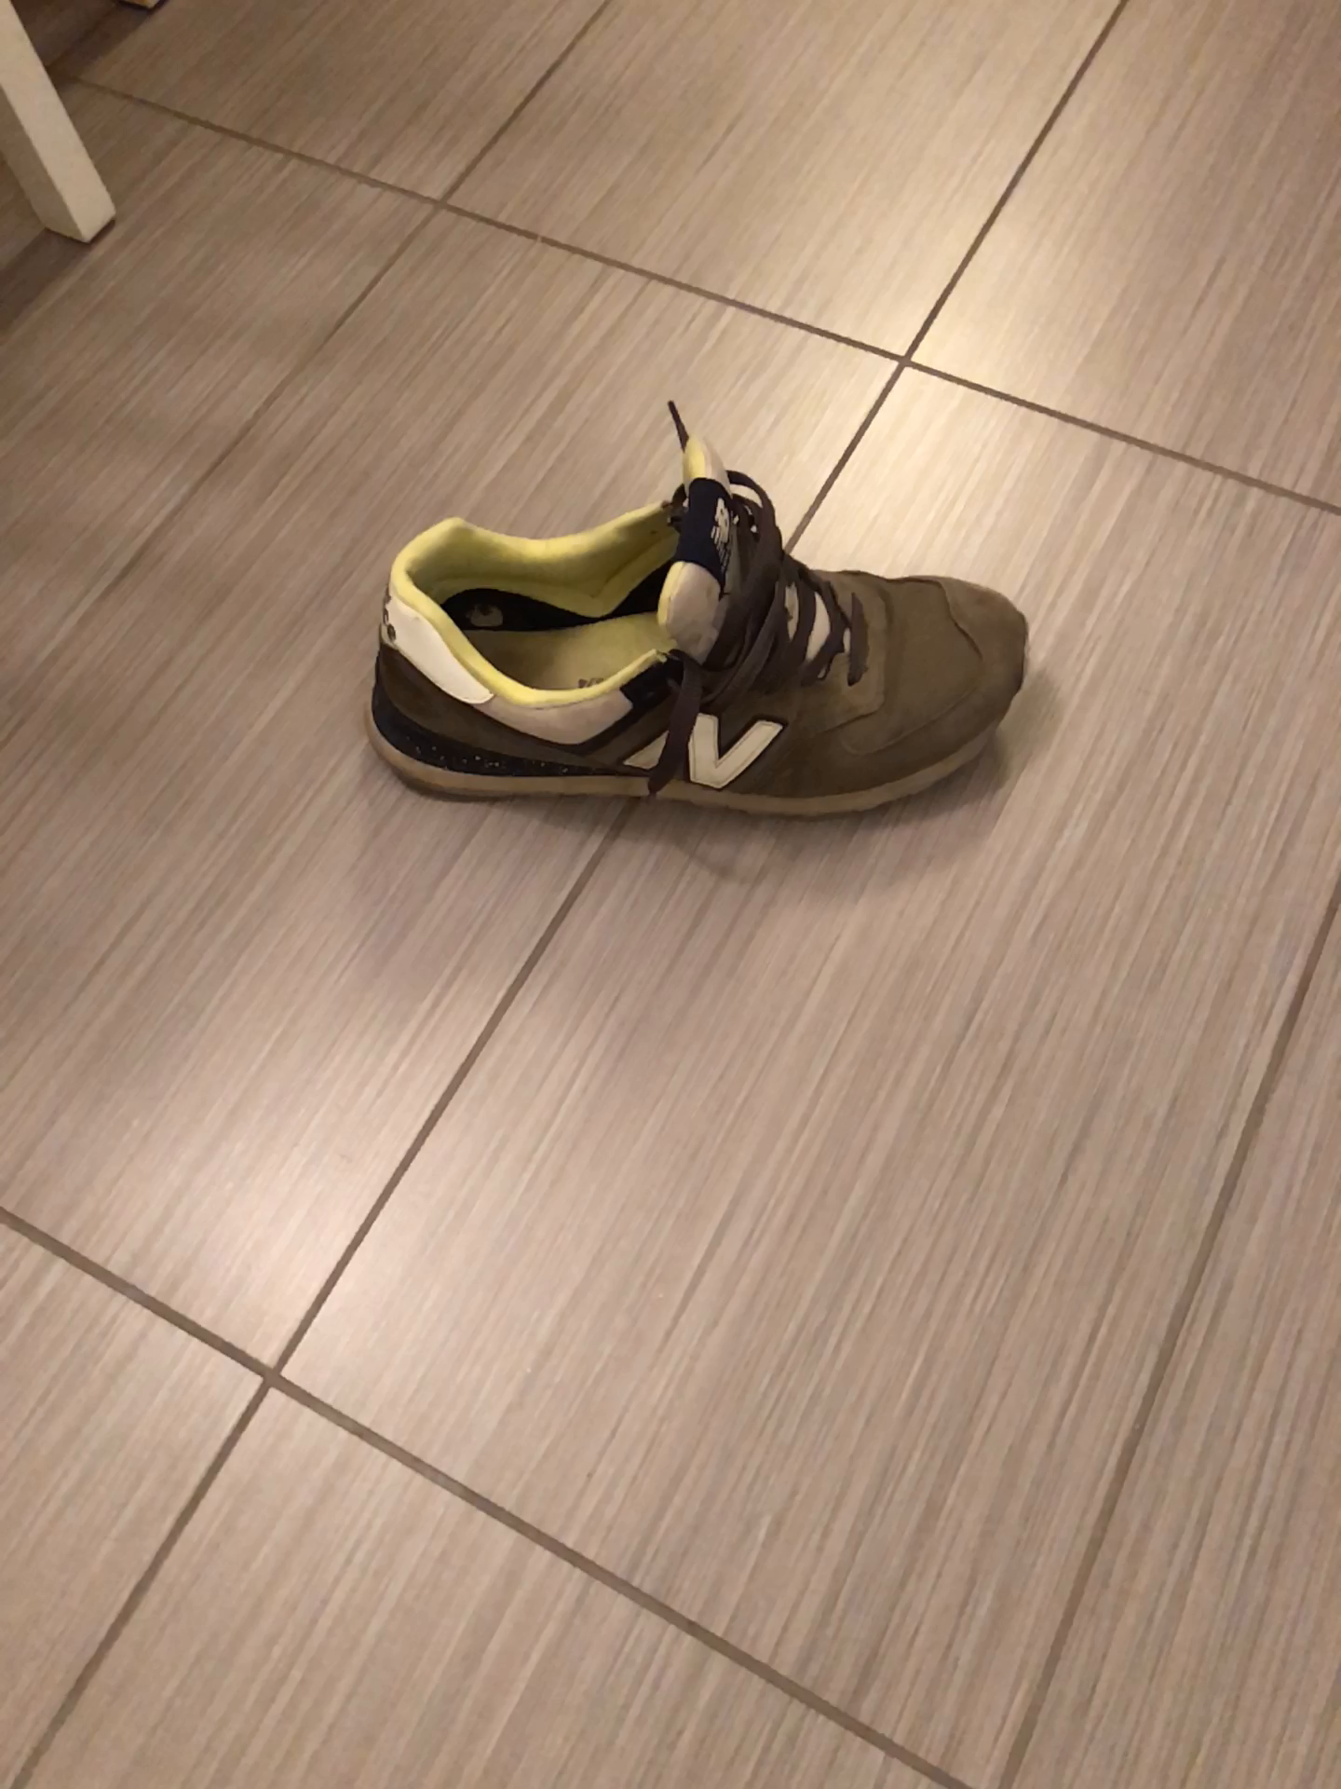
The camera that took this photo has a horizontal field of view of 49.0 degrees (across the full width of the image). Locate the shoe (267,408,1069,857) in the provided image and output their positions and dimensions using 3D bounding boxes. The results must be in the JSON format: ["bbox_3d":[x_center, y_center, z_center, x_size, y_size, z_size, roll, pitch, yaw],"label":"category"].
[{"bbox_3d":[0.005,-0.115,0.646,0.310,0.110,0.130,6,64,7],"label":"shoe"}]
